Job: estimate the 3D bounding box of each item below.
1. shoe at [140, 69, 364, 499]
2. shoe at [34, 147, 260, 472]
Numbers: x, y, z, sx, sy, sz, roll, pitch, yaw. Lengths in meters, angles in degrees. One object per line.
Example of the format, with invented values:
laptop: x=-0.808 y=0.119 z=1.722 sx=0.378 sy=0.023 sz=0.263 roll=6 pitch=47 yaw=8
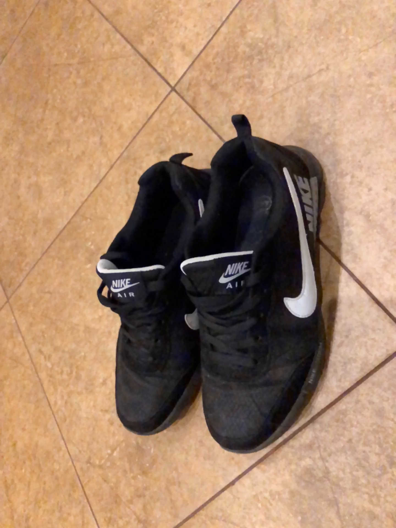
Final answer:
shoe: x=0.056 y=0.012 z=0.386 sx=0.120 sy=0.120 sz=0.300 roll=3 pitch=82 yaw=35
shoe: x=-0.046 y=0.037 z=0.439 sx=0.110 sy=0.120 sz=0.270 roll=13 pitch=88 yaw=36
